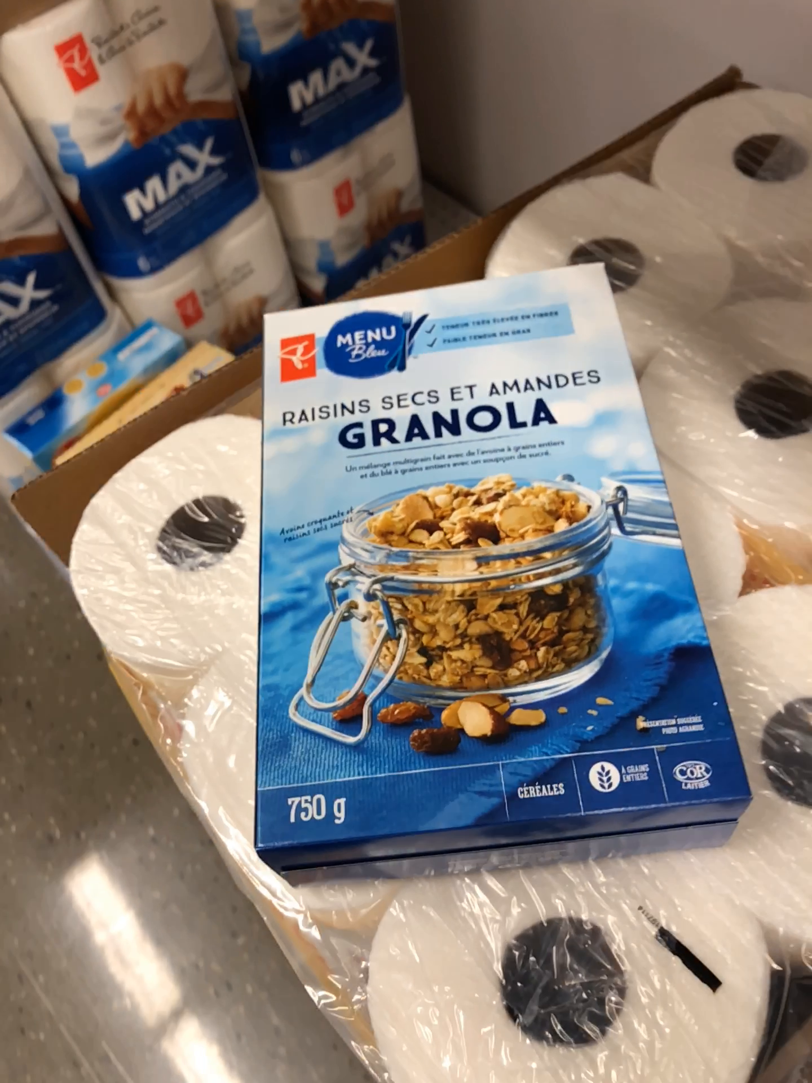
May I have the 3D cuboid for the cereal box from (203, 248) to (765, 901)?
[{"bbox_3d":[0.017,-0.001,0.368,0.170,0.060,0.251,-7,56,4],"label":"cereal box"}]
